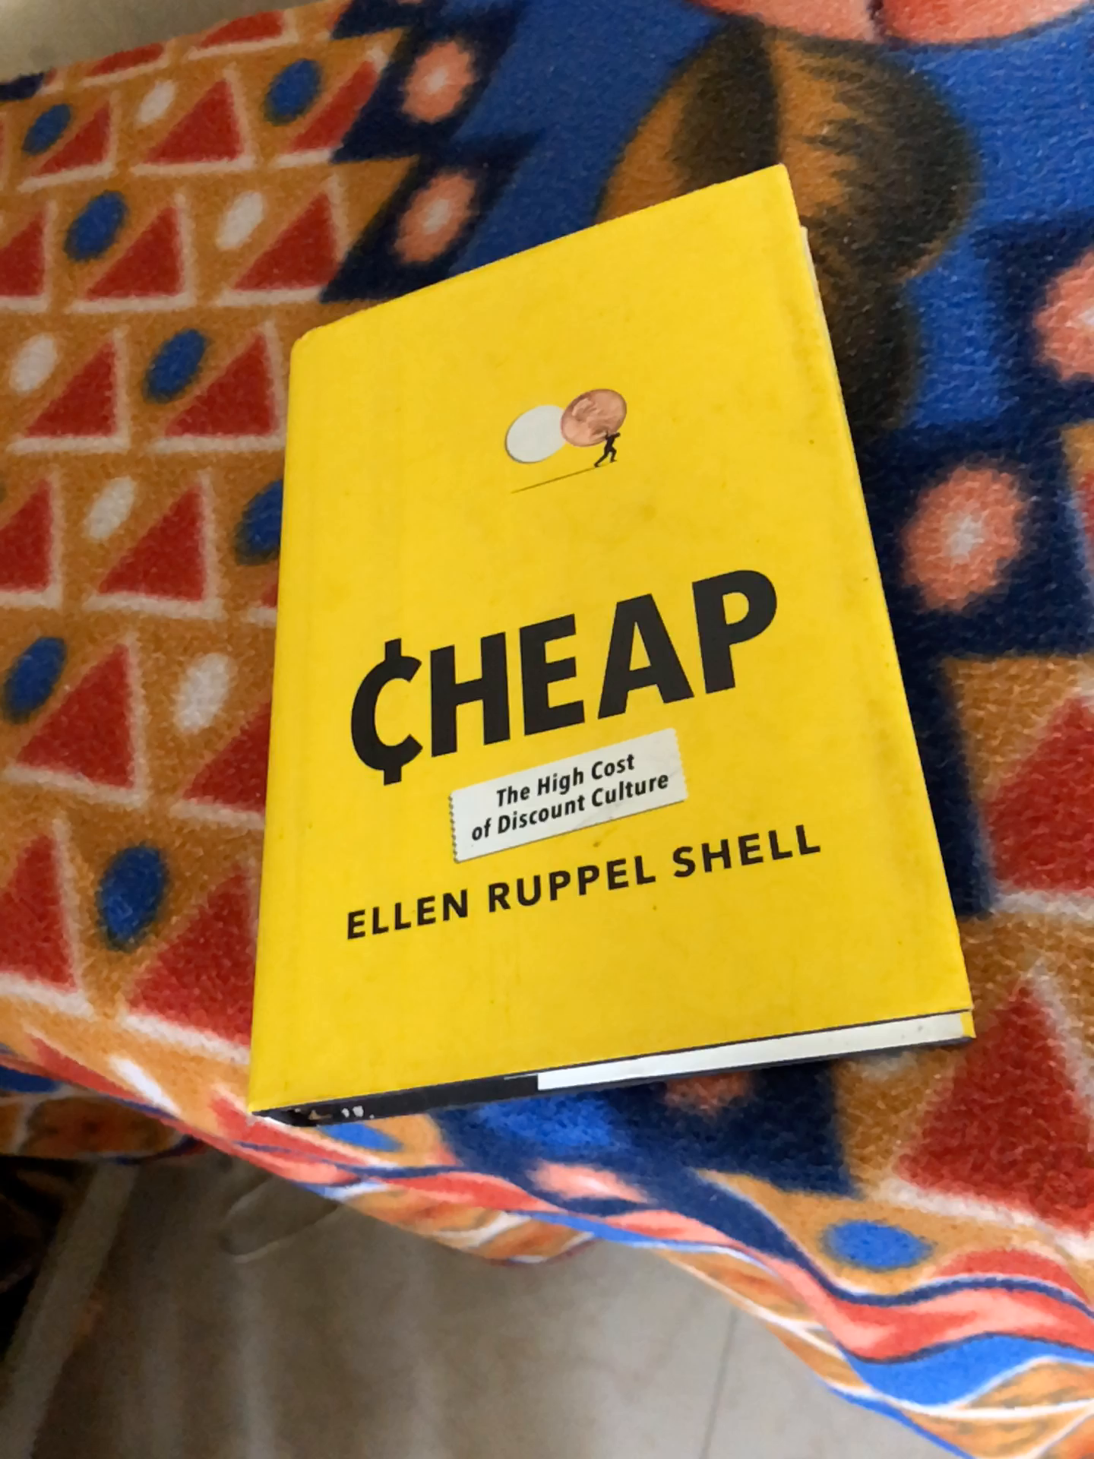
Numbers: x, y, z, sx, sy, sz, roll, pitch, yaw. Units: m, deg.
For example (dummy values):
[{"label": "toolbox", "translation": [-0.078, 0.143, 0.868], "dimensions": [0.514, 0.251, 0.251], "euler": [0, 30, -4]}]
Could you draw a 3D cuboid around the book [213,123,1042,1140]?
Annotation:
[{"label": "book", "translation": [0.006, -0.033, 0.309], "dimensions": [0.170, 0.030, 0.240], "euler": [-13, 61, 16]}]
